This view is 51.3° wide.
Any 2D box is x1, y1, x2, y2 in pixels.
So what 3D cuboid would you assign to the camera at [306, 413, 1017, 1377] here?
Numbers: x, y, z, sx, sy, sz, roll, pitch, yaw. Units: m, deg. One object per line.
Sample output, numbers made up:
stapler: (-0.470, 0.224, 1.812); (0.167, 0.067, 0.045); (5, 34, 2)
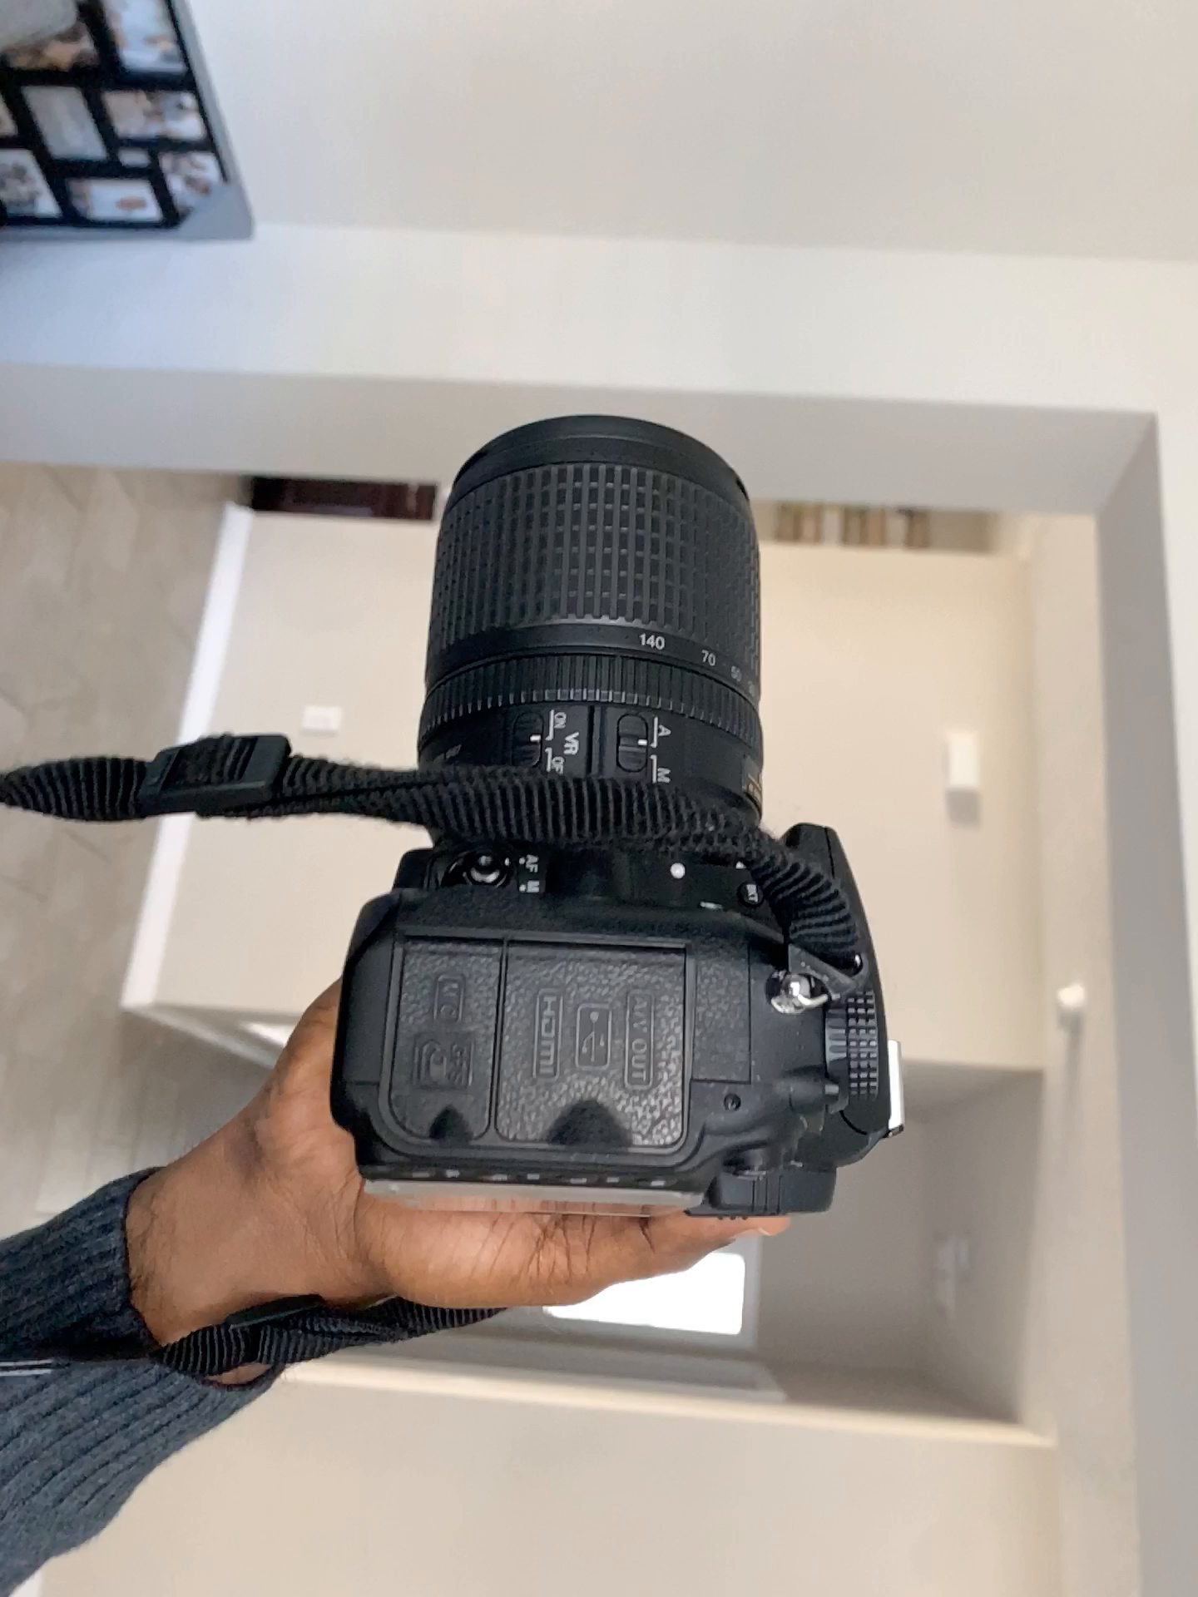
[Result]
camera: (0.008, 0.033, 0.299); (0.159, 0.114, 0.170); (107, -14, -72)
